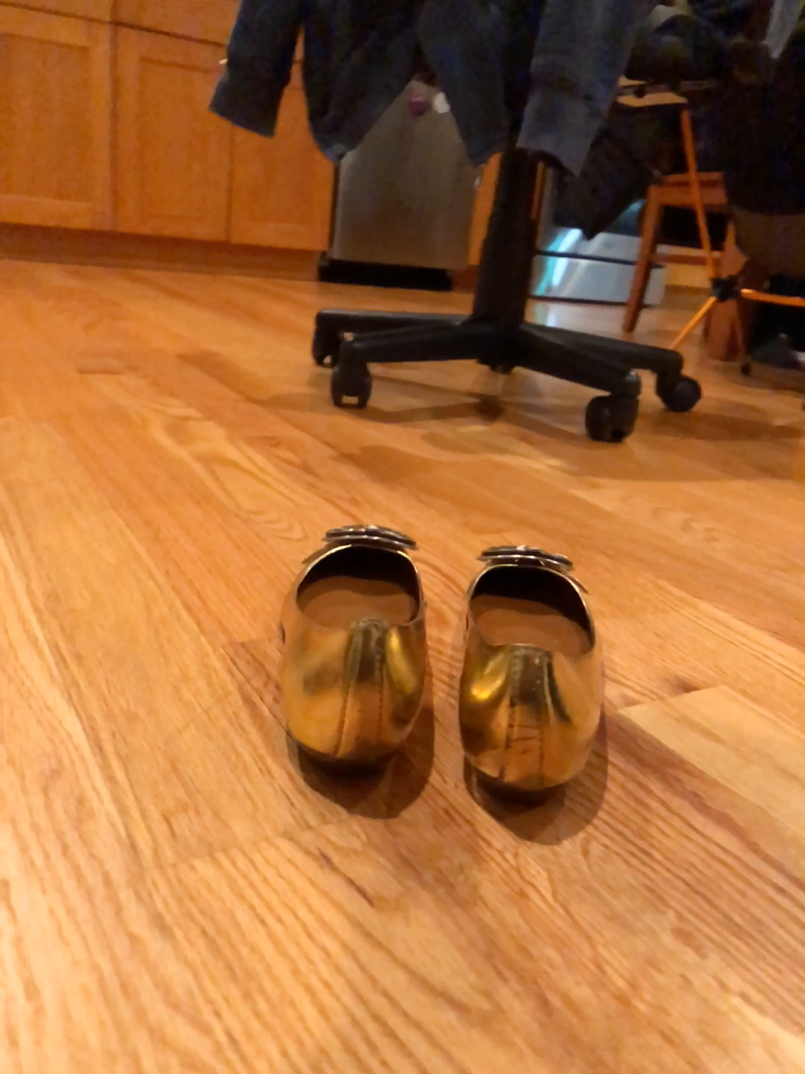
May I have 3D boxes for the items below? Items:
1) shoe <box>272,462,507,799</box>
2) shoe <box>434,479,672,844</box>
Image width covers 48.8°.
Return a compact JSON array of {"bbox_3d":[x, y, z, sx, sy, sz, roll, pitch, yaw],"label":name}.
[{"bbox_3d":[-0.015,0.028,0.450,0.083,0.066,0.245,4,19,-6],"label":"shoe"},{"bbox_3d":[0.068,0.040,0.444,0.077,0.066,0.250,8,19,4],"label":"shoe"}]
